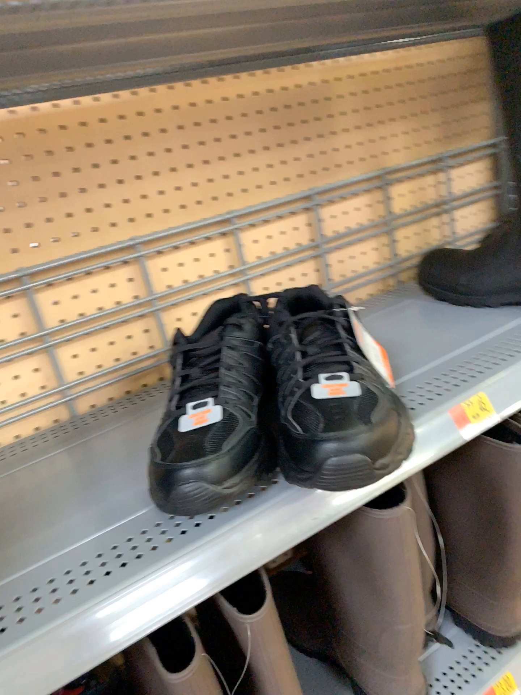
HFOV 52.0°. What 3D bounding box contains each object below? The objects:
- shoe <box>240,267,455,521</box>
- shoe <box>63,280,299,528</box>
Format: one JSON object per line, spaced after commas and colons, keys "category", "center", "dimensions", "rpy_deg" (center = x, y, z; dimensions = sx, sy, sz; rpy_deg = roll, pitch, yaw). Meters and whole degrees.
{"category": "shoe", "center": [0.061, 0.016, 0.512], "dimensions": [0.135, 0.104, 0.298], "rpy_deg": [-12, 19, 3]}
{"category": "shoe", "center": [-0.049, 0.032, 0.534], "dimensions": [0.139, 0.104, 0.297], "rpy_deg": [-9, 20, 11]}
